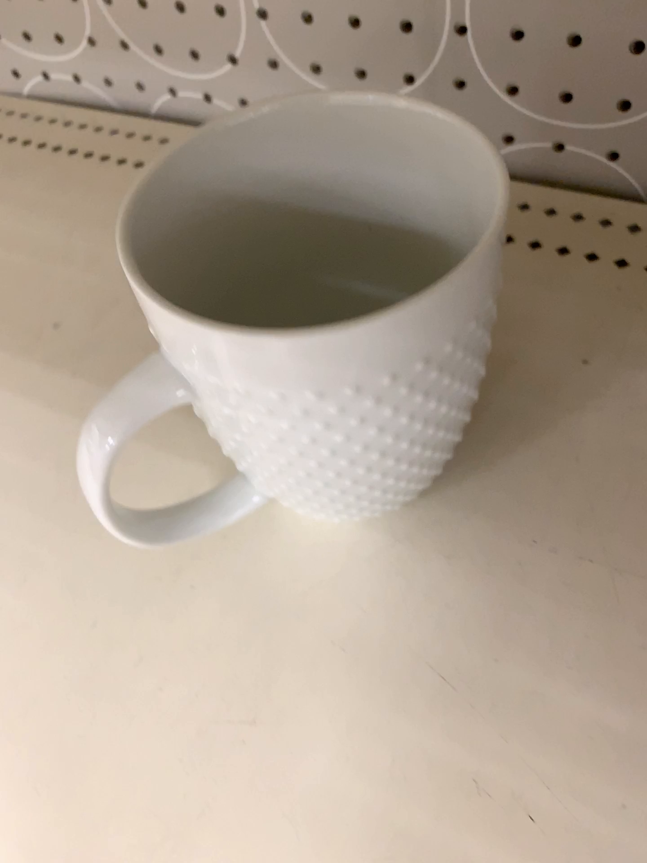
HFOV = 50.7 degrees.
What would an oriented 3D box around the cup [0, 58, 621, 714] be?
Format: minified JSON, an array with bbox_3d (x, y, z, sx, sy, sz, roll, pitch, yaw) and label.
[{"bbox_3d":[-0.007,-0.013,0.203,0.137,0.105,0.094,-38,58,-16],"label":"cup"}]
